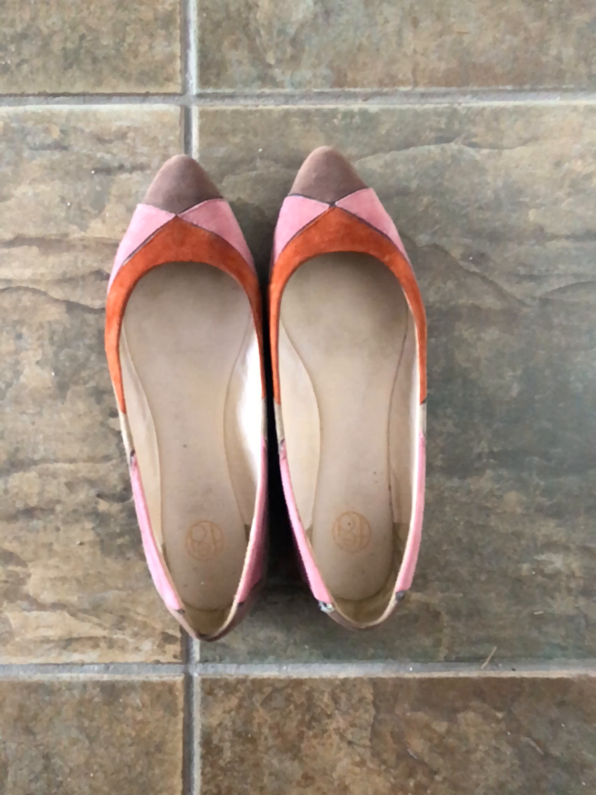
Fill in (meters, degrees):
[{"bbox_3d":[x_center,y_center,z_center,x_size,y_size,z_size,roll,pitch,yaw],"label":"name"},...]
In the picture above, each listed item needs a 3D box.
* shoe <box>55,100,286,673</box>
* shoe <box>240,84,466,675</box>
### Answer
[{"bbox_3d":[-0.063,-0.005,0.347,0.090,0.070,0.270,-4,89,1],"label":"shoe"},{"bbox_3d":[0.026,-0.009,0.336,0.090,0.070,0.270,-3,89,1],"label":"shoe"}]
